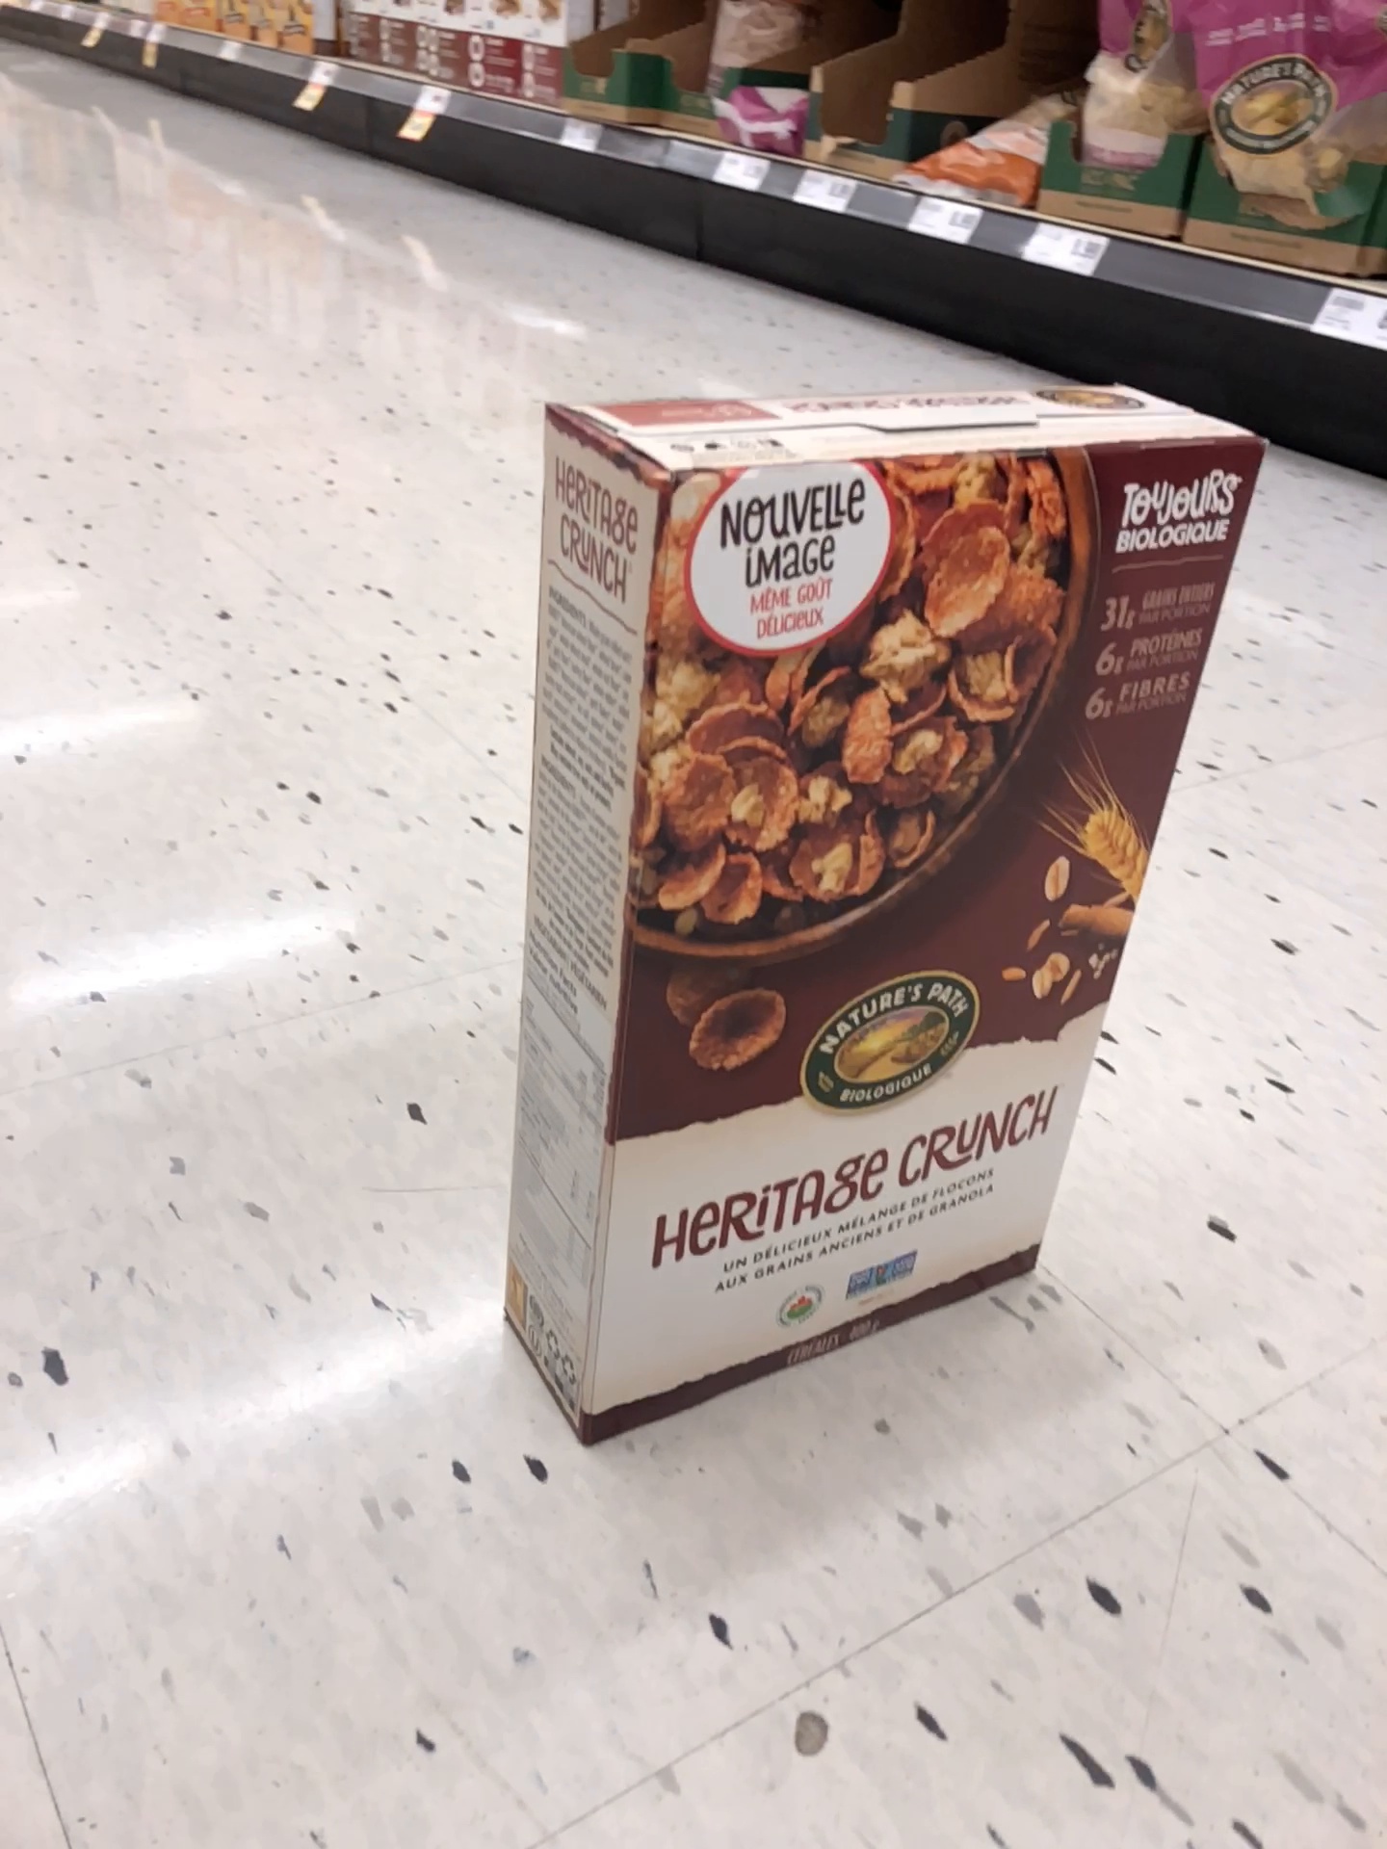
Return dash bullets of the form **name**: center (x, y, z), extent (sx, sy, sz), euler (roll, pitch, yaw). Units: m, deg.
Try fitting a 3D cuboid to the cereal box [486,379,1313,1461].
- **cereal box**: center (0.041, -0.001, 0.389), extent (0.170, 0.248, 0.060), euler (-13, 35, -29)
